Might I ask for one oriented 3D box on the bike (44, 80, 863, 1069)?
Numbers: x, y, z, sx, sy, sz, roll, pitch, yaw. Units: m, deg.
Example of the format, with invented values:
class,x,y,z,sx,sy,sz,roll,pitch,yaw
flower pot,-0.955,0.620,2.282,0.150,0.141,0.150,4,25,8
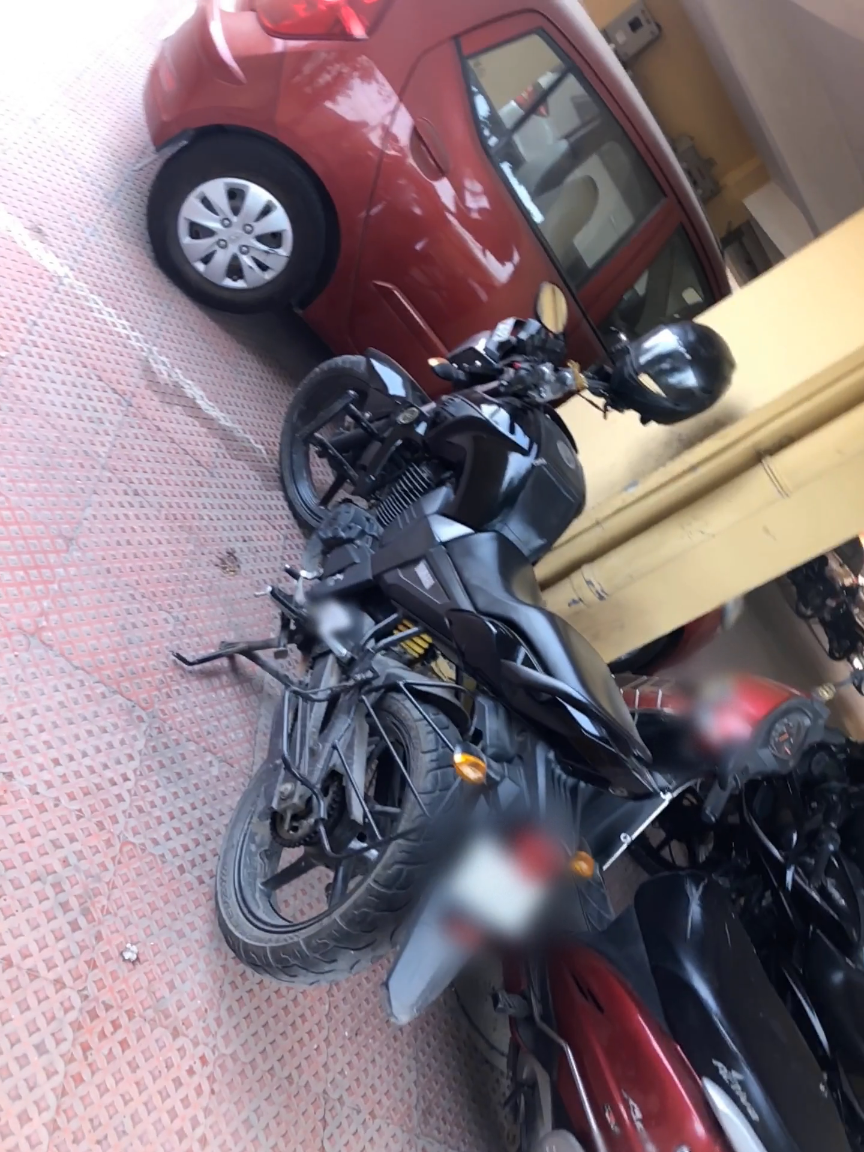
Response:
class,x,y,z,sx,sy,sz,roll,pitch,yaw
bike,-0.057,-0.133,2.078,0.739,1.027,1.788,42,26,-37
